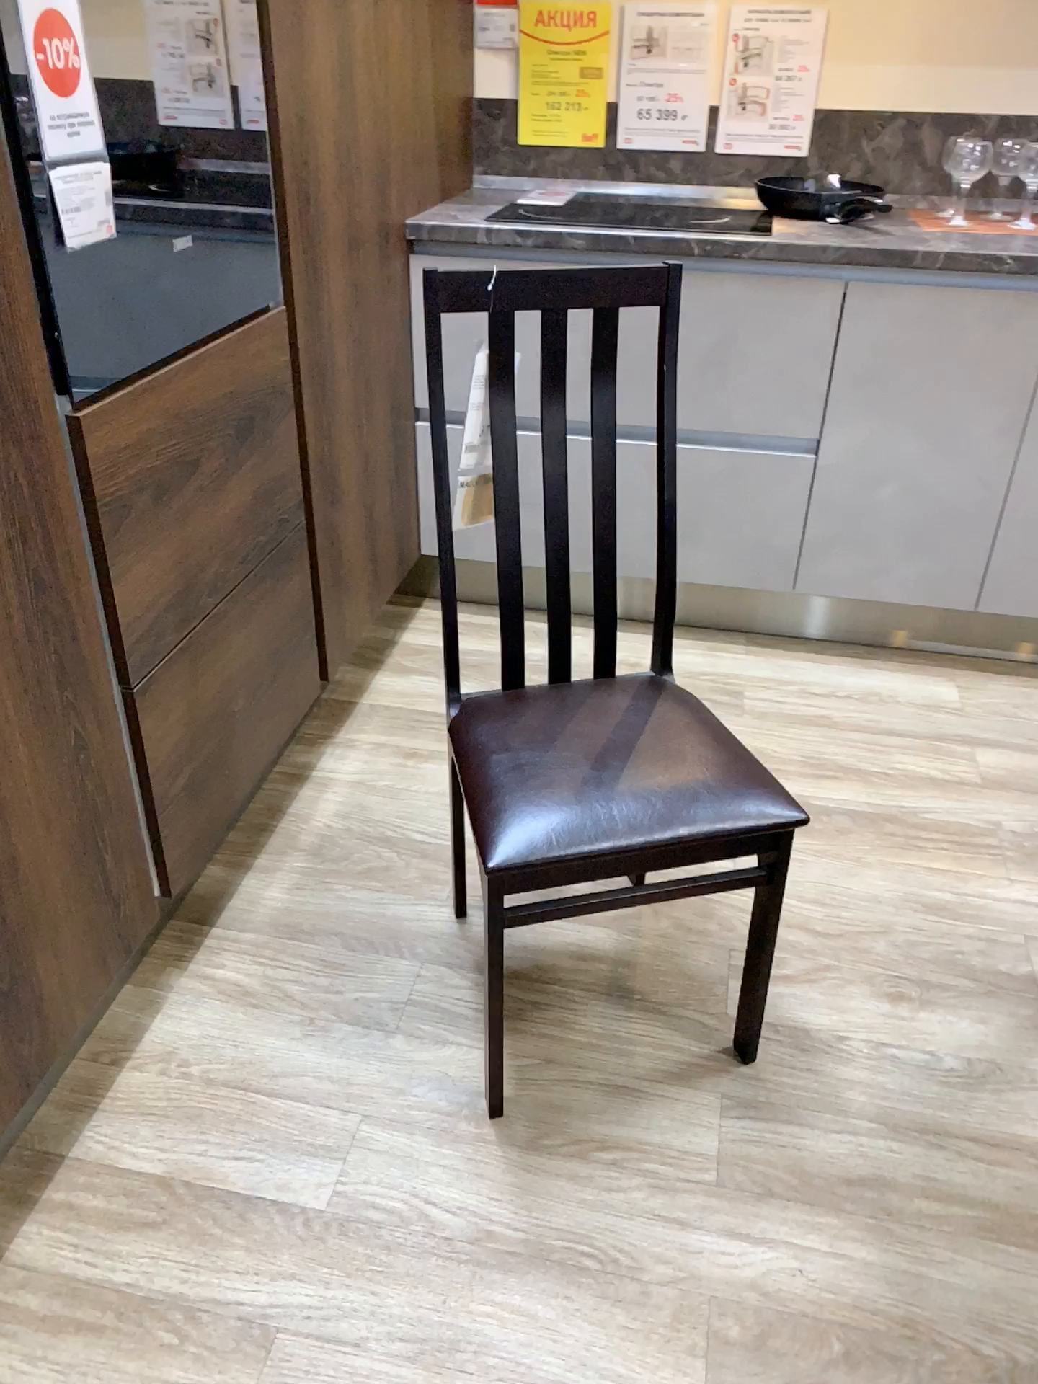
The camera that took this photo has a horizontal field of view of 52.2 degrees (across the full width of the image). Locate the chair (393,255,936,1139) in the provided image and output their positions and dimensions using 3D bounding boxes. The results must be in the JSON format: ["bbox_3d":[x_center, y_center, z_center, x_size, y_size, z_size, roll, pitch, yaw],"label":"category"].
[{"bbox_3d":[0.109,0.006,1.423,0.430,1.014,0.523,-7,32,-13],"label":"chair"}]
